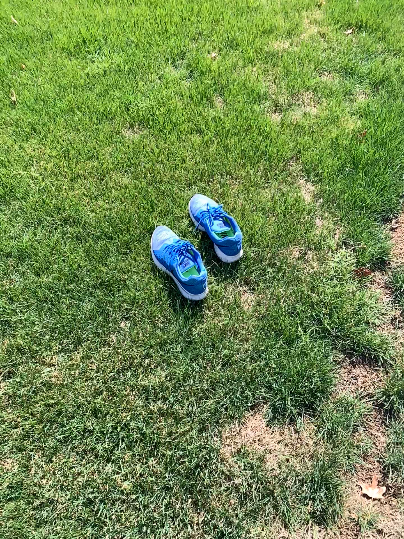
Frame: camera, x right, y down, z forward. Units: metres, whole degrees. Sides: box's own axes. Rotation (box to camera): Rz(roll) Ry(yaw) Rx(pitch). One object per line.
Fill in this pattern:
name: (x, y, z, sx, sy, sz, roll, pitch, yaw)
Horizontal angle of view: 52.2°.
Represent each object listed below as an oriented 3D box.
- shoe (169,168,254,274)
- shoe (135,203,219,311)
shoe: (0.026, -0.159, 1.320, 0.130, 0.140, 0.291, -27, 61, -14)
shoe: (-0.076, -0.041, 1.242, 0.120, 0.120, 0.291, -27, 61, -14)
